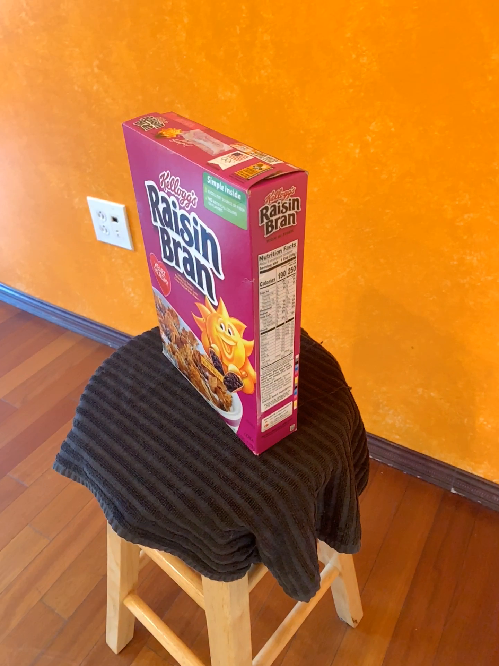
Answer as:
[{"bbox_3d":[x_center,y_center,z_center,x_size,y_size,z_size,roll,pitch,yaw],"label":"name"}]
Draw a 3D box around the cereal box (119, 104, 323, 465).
[{"bbox_3d":[-0.028,-0.043,0.496,0.060,0.288,0.201,-26,44,-26],"label":"cereal box"}]
